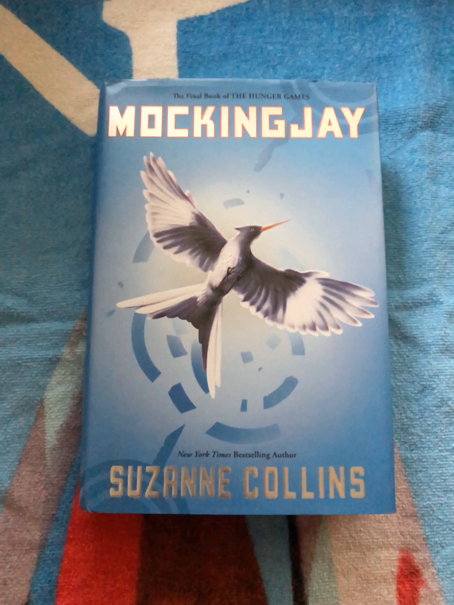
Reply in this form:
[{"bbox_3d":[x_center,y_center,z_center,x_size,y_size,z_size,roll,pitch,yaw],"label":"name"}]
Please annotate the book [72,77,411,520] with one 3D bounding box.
[{"bbox_3d":[0.006,-0.006,0.245,0.140,0.040,0.200,0,81,1],"label":"book"}]
